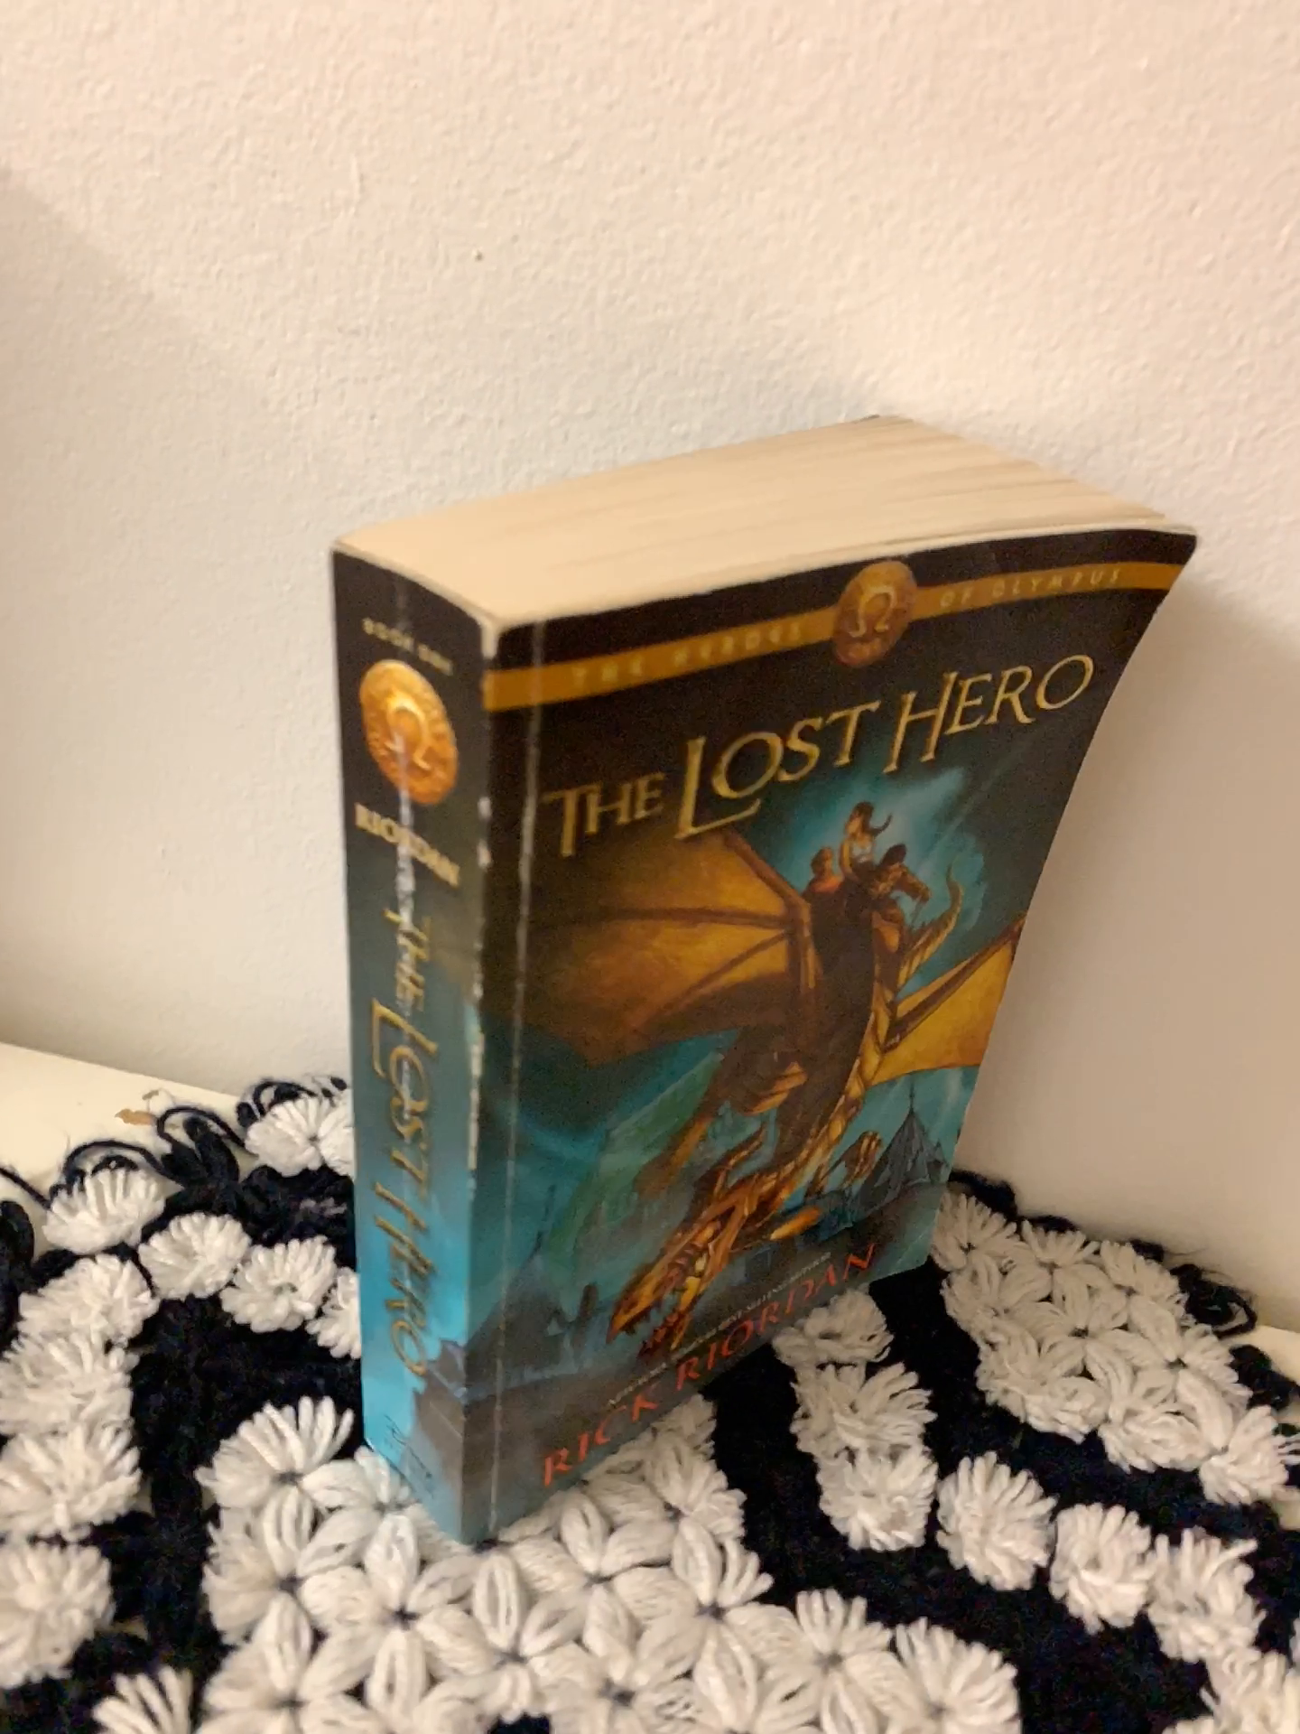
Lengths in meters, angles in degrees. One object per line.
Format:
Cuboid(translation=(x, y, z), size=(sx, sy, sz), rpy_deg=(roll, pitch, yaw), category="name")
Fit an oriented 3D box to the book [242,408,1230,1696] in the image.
Cuboid(translation=(0.016, 0.022, 0.241), size=(0.142, 0.177, 0.068), rpy_deg=(-22, 38, -39), category="book")
